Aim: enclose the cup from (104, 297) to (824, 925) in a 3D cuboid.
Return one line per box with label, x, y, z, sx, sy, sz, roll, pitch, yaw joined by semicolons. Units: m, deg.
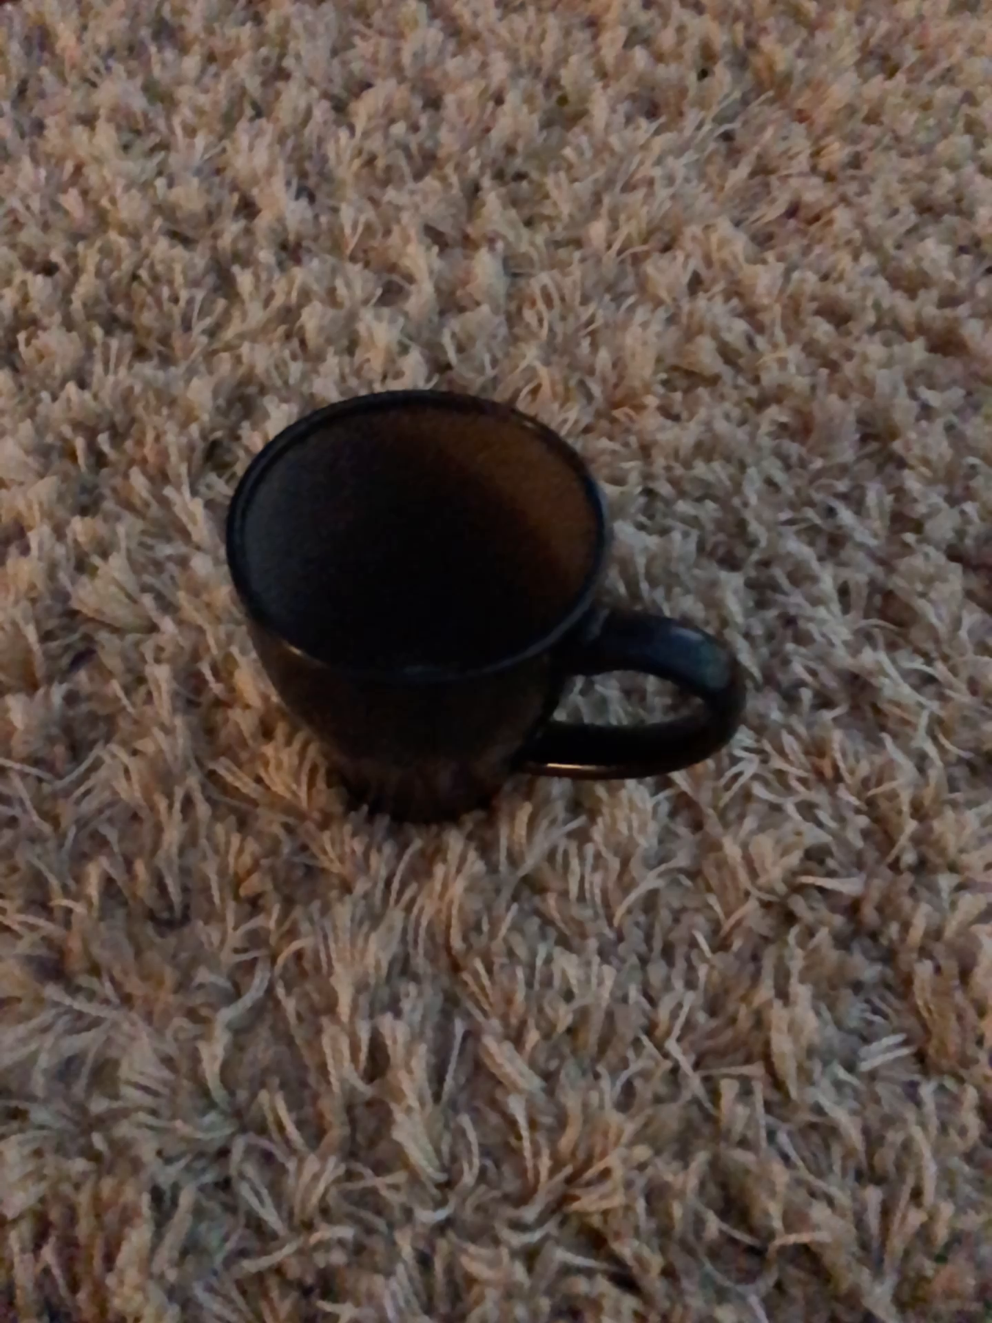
cup;-0.005;-0.014;0.286;0.140;0.090;0.090;20;59;13
